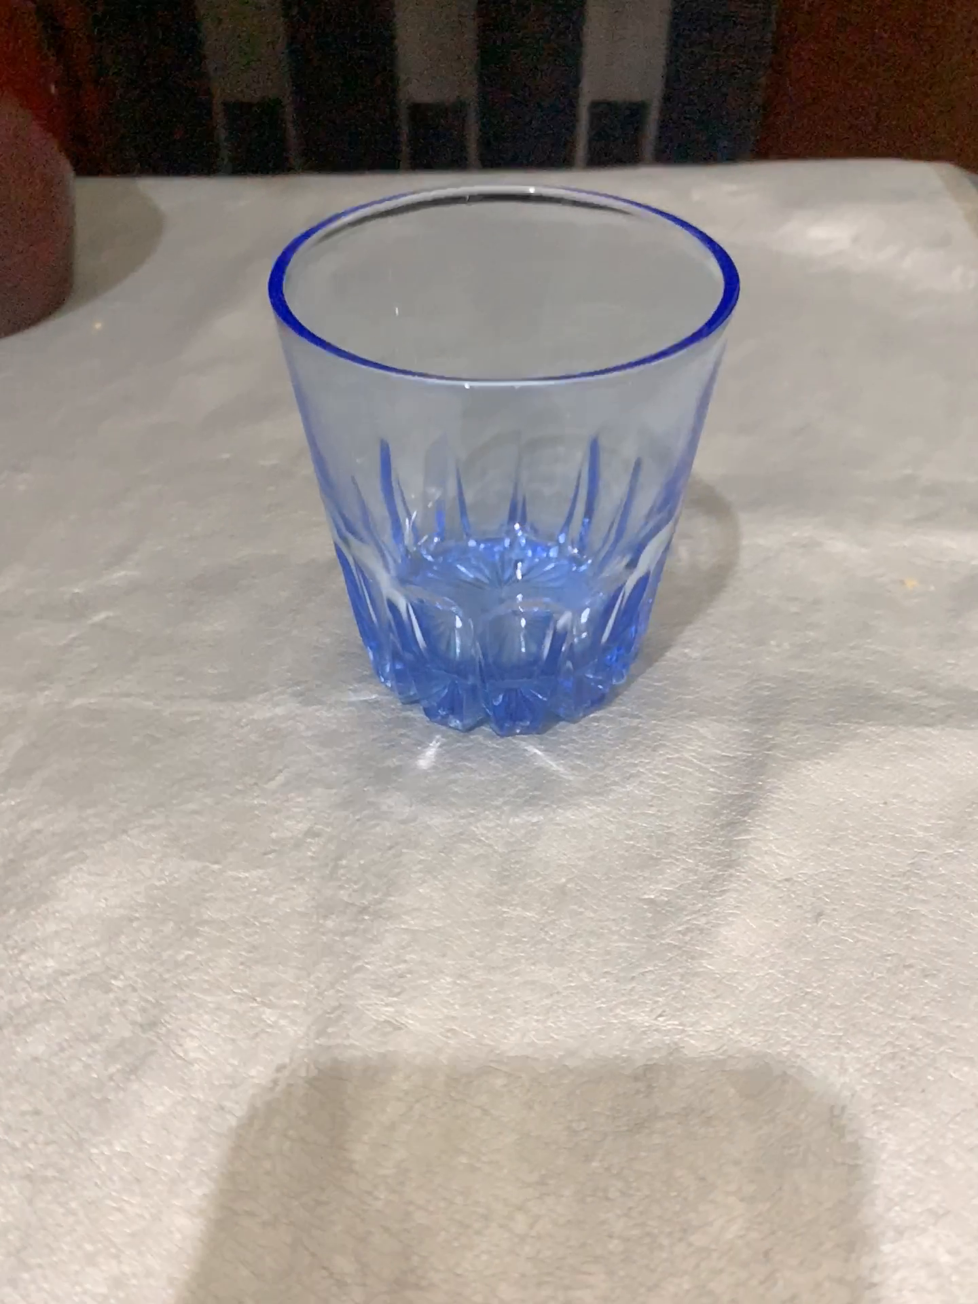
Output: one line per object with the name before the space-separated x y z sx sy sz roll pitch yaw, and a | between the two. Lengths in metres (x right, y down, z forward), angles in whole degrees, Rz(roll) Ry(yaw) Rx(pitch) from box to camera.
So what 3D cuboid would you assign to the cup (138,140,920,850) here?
cup | 0.007 -0.037 0.190 0.090 0.070 0.090 1 44 -1
